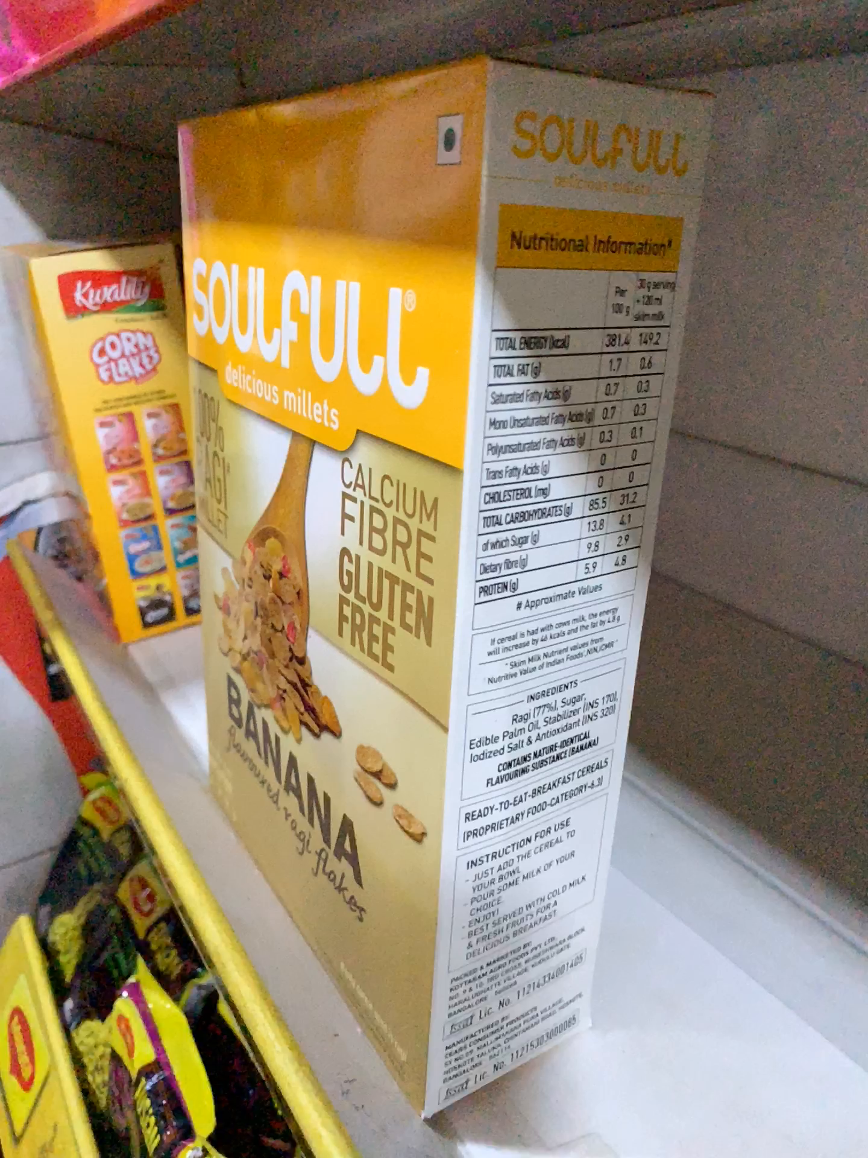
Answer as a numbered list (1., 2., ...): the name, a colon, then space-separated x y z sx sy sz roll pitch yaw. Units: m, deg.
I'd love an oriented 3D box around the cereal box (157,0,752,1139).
1. cereal box: -0.017 -0.010 0.248 0.060 0.229 0.161 -9 23 -31
